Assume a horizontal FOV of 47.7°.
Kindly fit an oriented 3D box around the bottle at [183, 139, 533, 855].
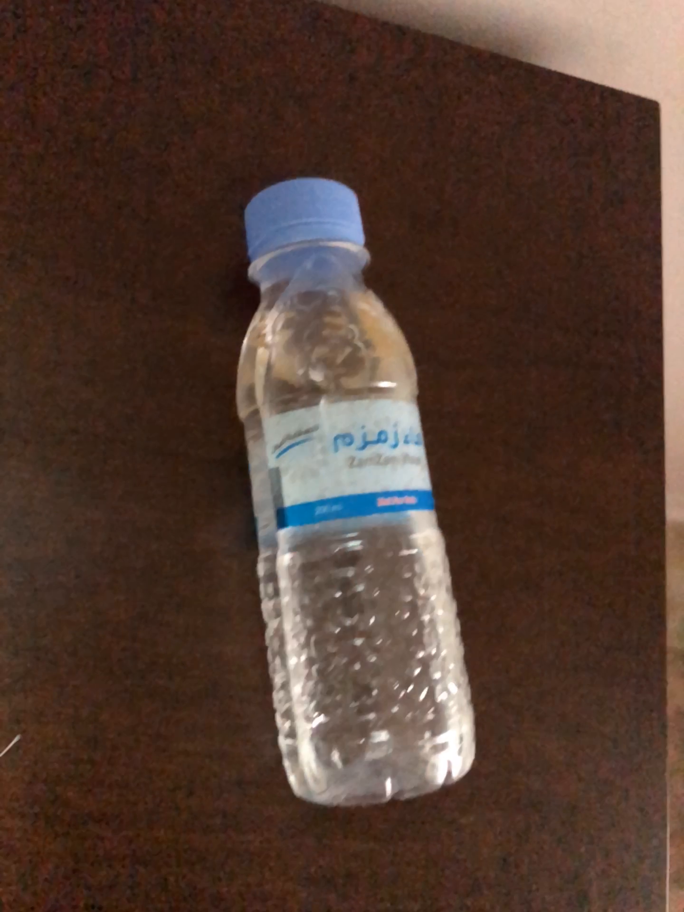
[{"bbox_3d":[-0.001,0.007,0.203,0.050,0.050,0.160,-5,80,-26],"label":"bottle"}]
